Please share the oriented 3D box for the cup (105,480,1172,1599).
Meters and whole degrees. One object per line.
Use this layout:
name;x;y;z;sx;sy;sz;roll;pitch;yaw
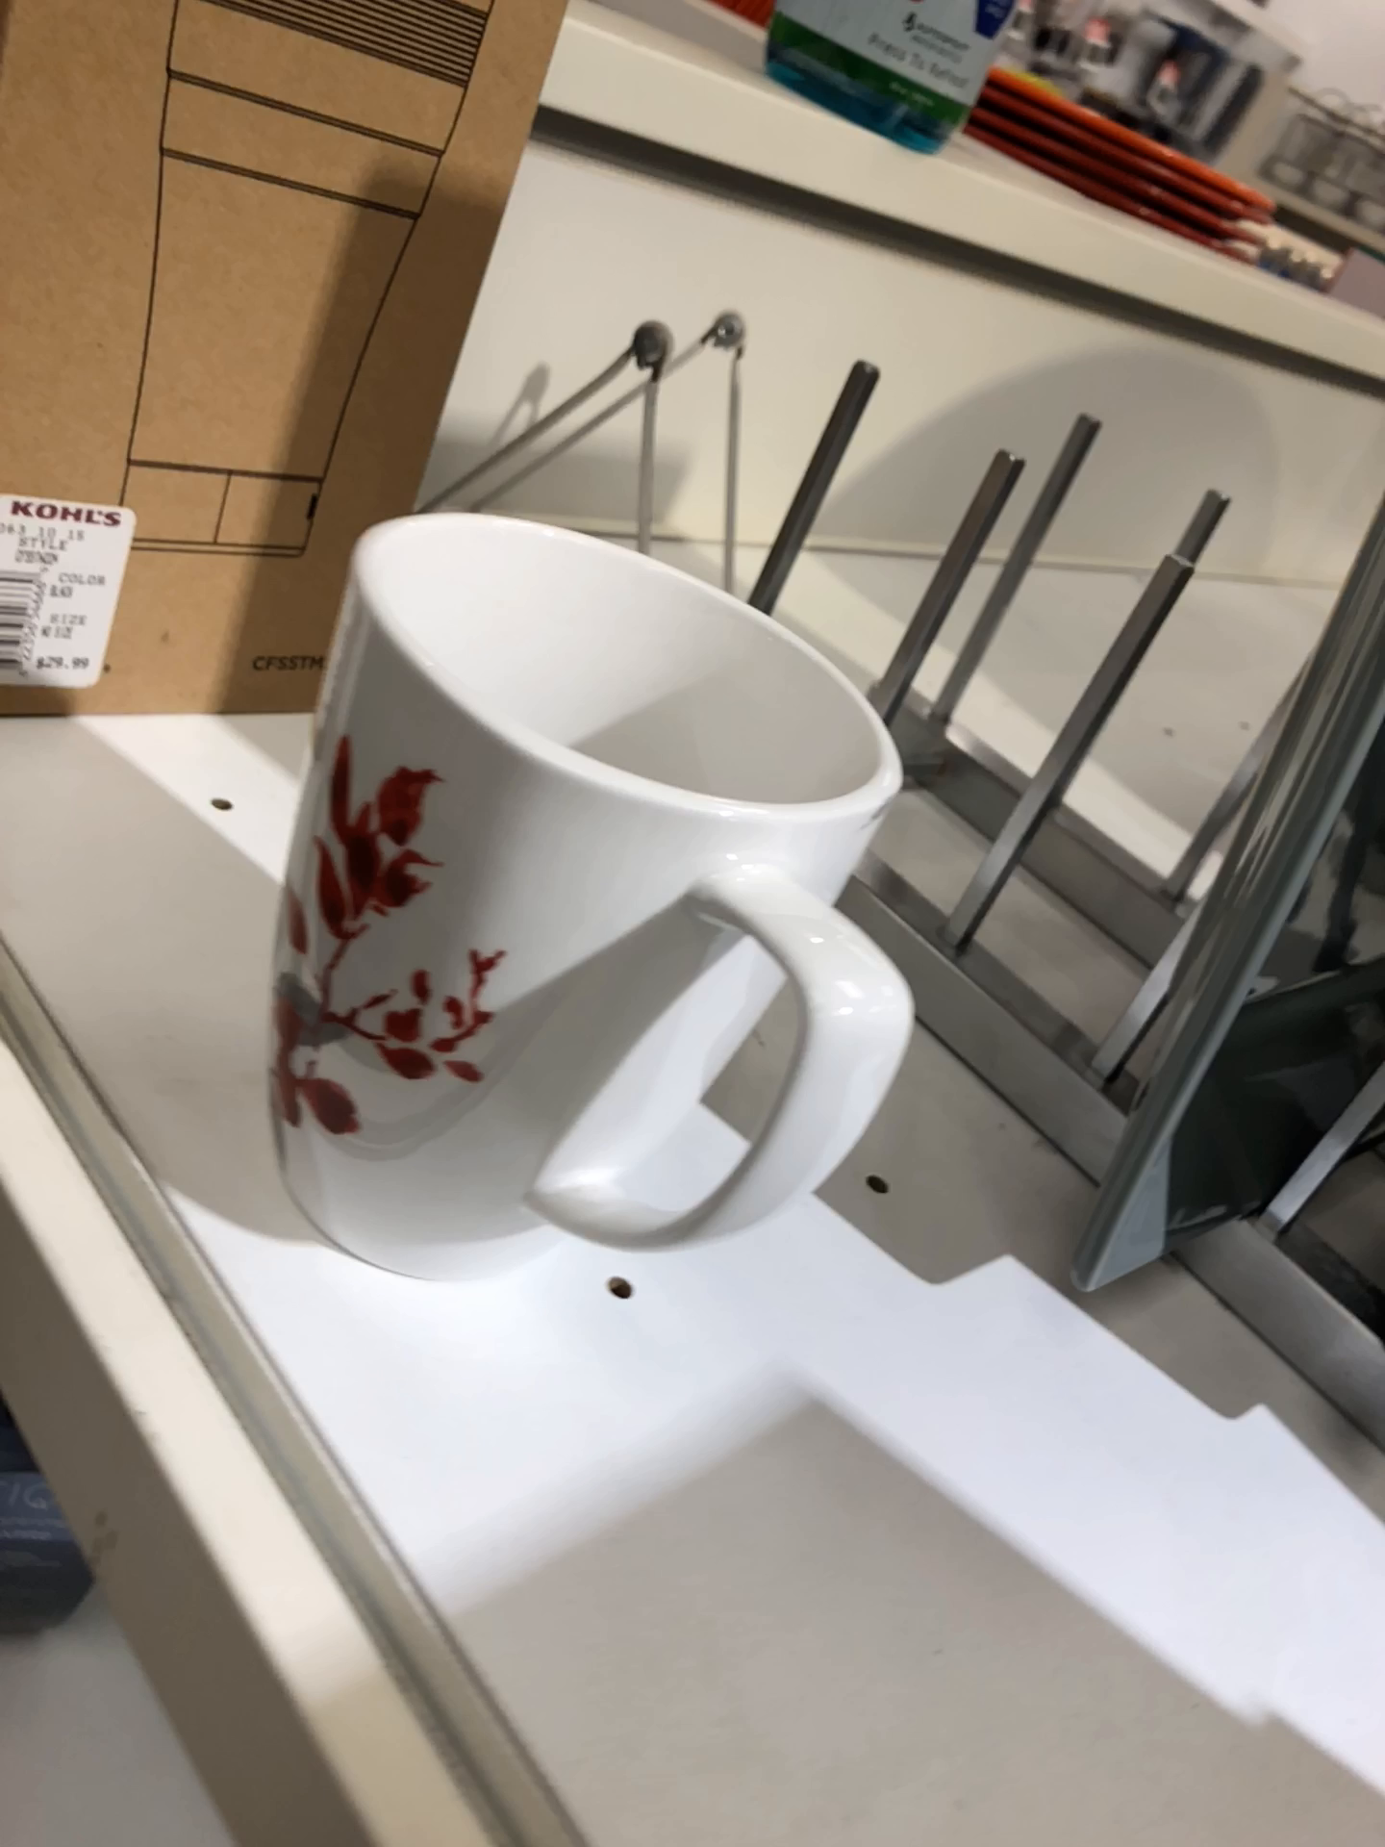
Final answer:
cup;-0.018;0.009;0.241;0.085;0.100;0.119;-7;43;-43
